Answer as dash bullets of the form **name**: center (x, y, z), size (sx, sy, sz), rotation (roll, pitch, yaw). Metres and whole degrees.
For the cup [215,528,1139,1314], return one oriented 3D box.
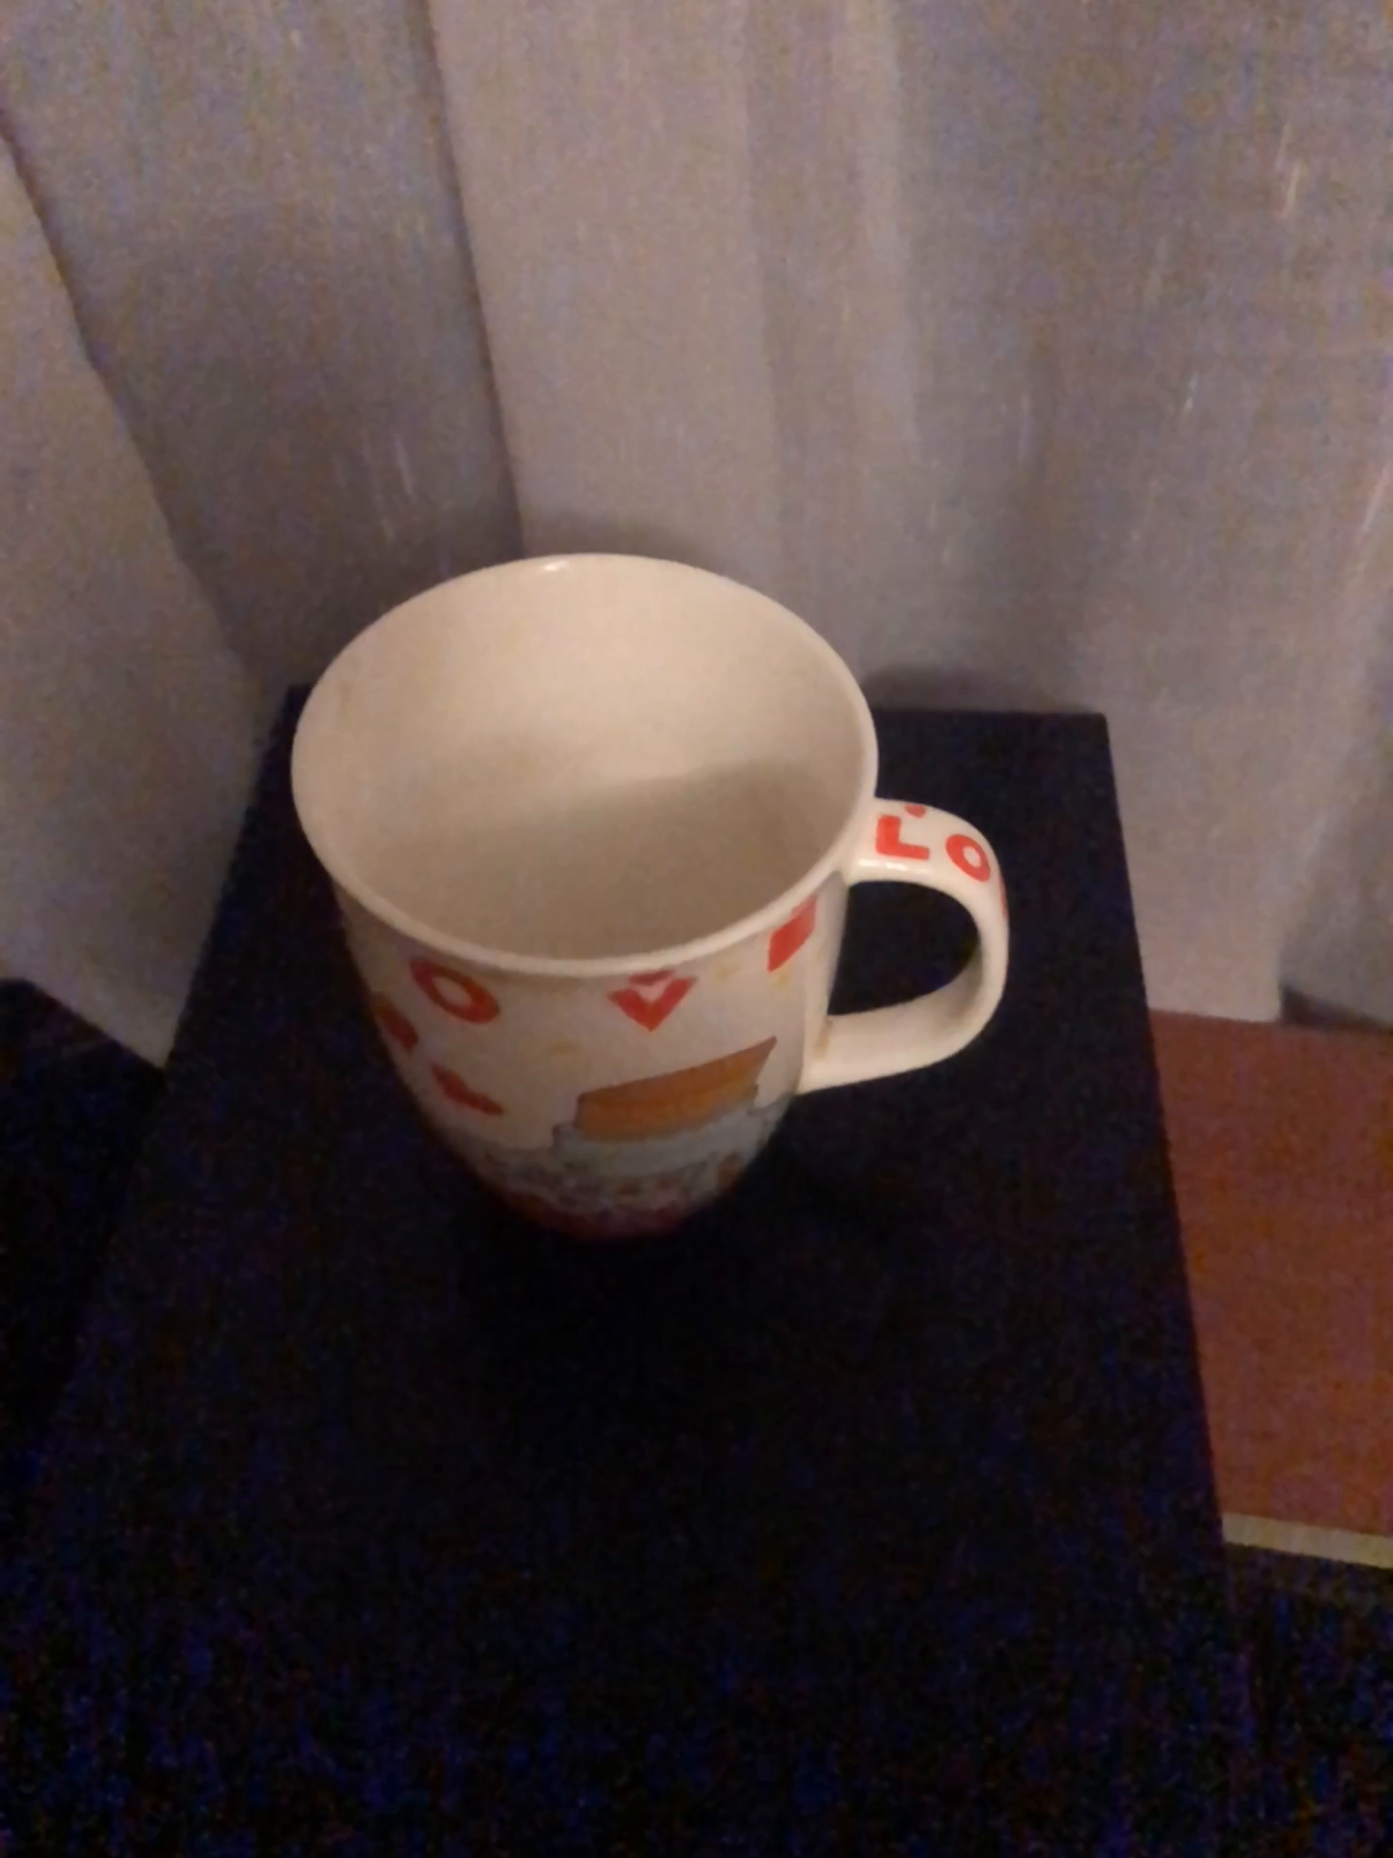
- **cup**: center (0.000, 0.001, 0.249), size (0.111, 0.098, 0.078), rotation (2, 52, 3)
